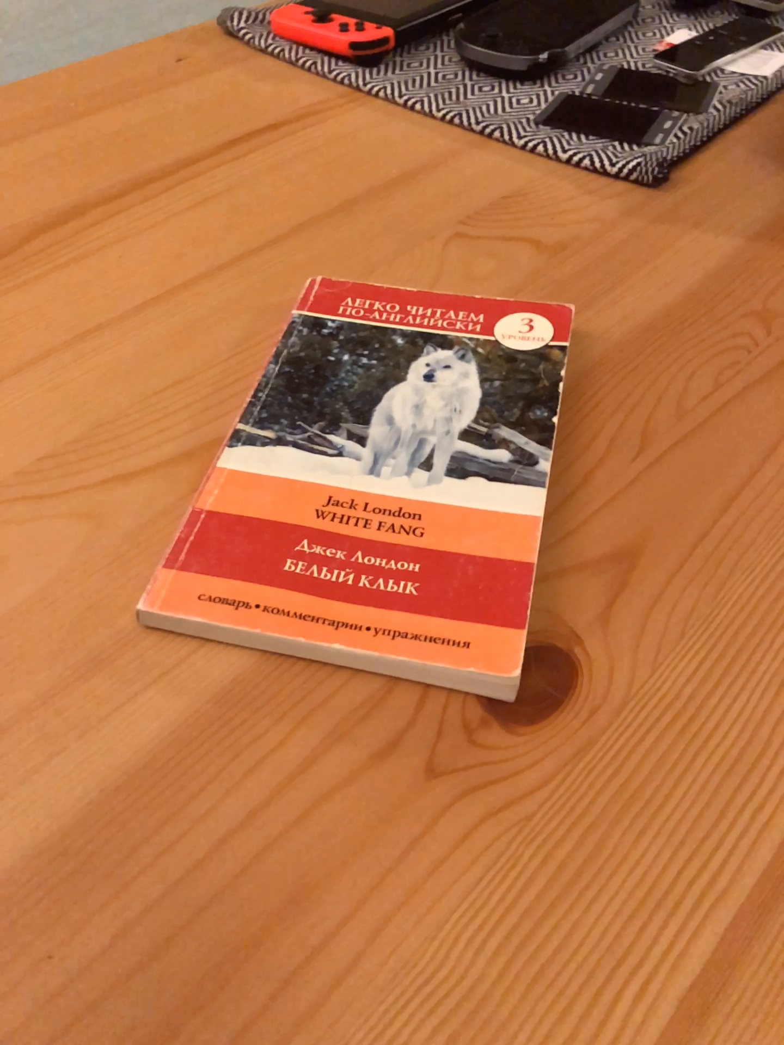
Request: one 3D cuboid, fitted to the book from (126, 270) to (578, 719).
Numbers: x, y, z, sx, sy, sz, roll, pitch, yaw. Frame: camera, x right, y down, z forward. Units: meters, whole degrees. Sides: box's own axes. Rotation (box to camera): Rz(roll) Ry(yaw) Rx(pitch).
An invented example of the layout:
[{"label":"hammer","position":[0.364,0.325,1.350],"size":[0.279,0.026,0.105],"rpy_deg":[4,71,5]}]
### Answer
[{"label":"book","position":[0.000,-0.029,0.344],"size":[0.129,0.020,0.205],"rpy_deg":[9,49,9]}]
